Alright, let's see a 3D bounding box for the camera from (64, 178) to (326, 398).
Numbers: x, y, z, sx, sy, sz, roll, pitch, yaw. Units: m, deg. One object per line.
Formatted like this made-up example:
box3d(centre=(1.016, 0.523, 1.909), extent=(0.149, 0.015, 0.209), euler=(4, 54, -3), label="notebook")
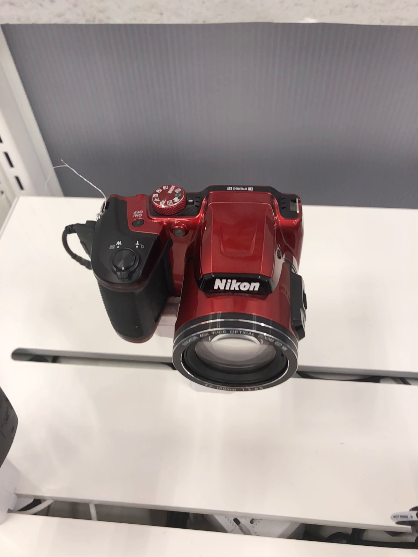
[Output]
box3d(centre=(-0.002, 0.005, 0.249), extent=(0.110, 0.074, 0.084), euler=(3, 52, 4), label="camera")
